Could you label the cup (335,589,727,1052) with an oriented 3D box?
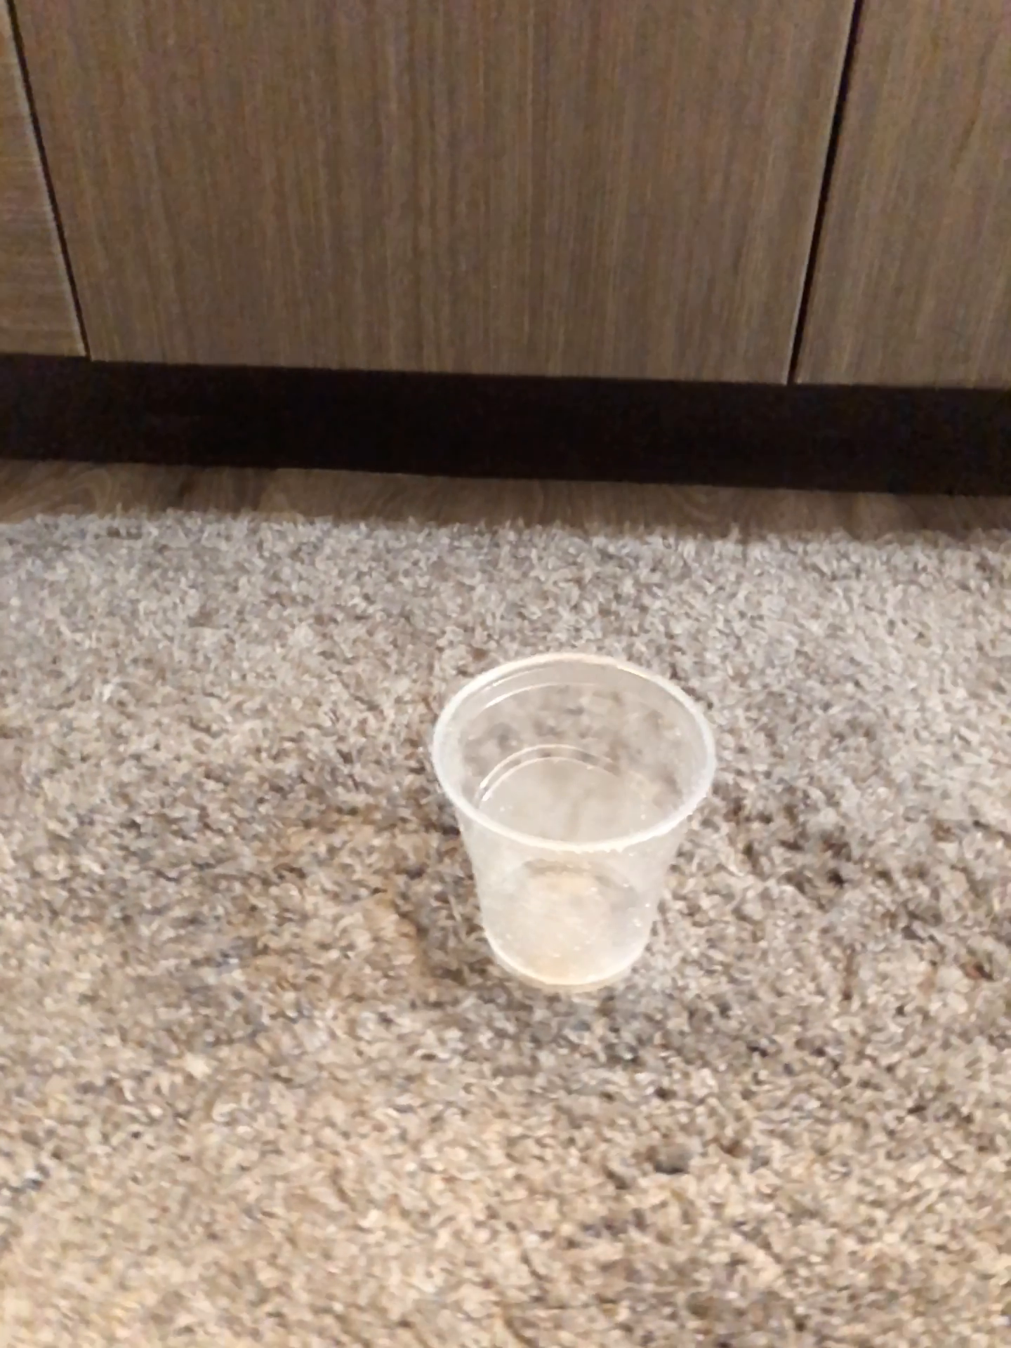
[{"bbox_3d":[0.010,0.043,0.361,0.090,0.090,0.090,1,37,-1],"label":"cup"}]
